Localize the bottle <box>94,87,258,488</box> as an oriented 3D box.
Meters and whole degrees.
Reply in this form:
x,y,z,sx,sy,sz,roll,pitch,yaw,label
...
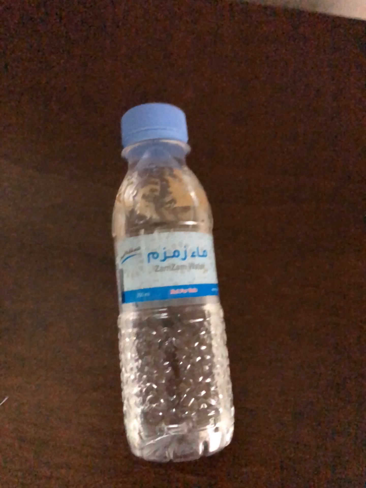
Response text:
x,y,z,sx,sy,sz,roll,pitch,yaw,label
-0.008,0.014,0.193,0.050,0.050,0.160,-5,81,-10,bottle
